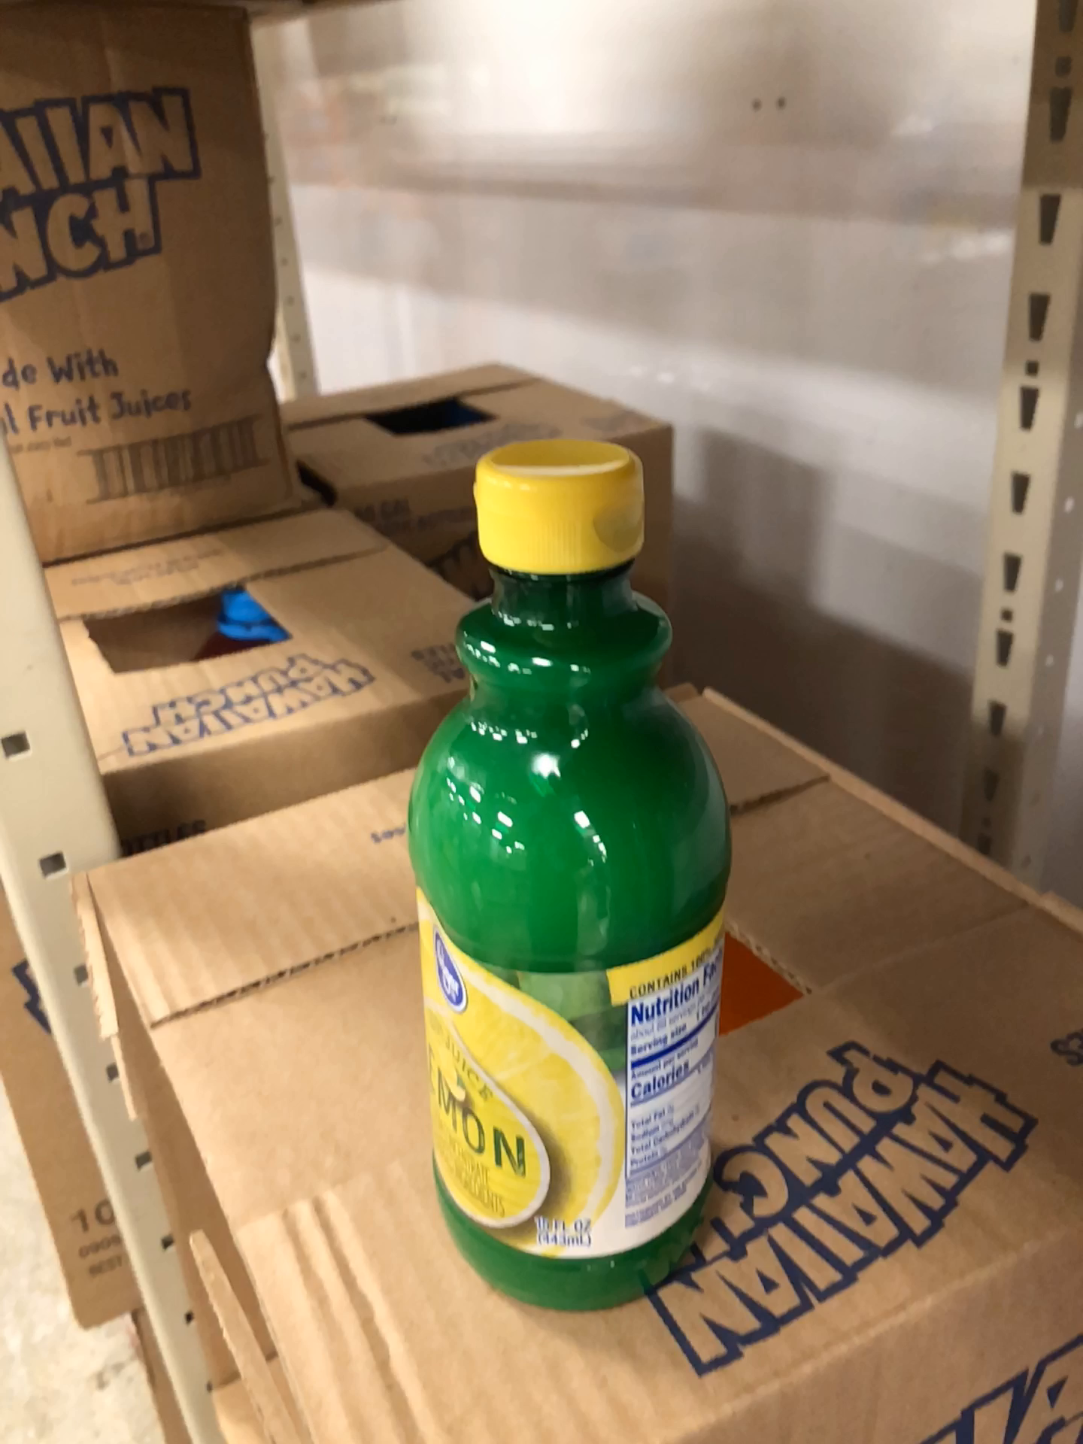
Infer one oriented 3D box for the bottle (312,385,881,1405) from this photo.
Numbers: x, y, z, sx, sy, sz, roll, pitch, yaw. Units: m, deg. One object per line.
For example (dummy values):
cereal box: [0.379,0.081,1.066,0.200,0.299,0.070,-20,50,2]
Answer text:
bottle: [0.011,0.034,0.250,0.070,0.184,0.070,-2,26,1]
